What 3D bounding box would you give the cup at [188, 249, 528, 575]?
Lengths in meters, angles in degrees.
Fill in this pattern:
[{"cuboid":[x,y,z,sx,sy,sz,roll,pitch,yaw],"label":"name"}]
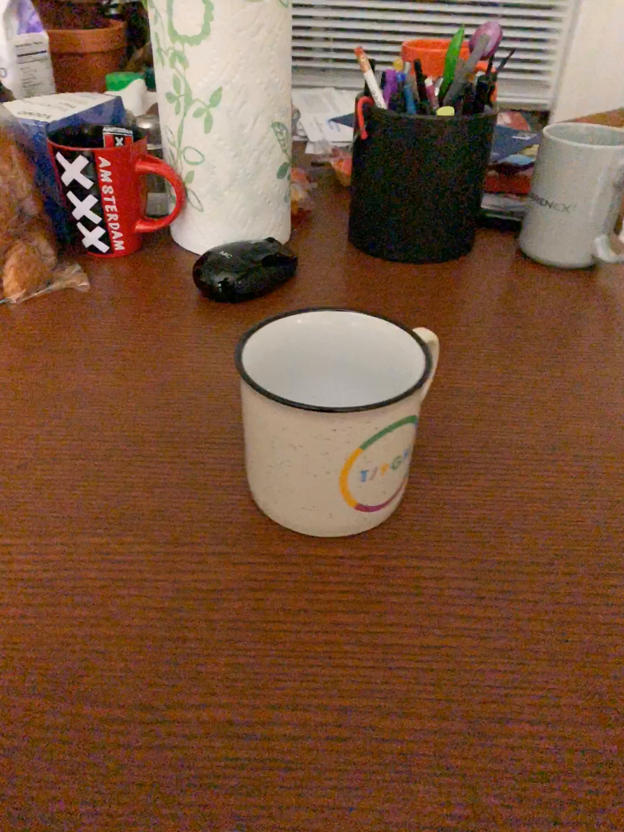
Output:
[{"cuboid":[0.026,-0.013,0.363,0.150,0.099,0.100,-28,46,-33],"label":"cup"}]
